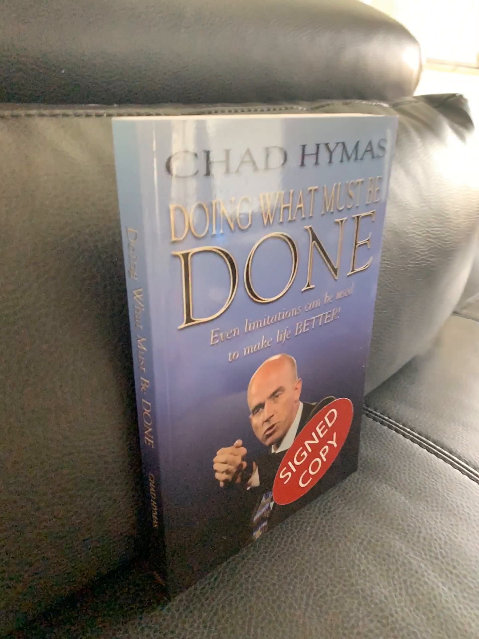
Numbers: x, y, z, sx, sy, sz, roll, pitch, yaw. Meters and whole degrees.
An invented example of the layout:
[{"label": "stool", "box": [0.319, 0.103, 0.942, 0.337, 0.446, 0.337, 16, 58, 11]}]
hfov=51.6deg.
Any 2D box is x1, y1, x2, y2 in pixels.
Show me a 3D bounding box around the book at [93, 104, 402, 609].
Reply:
[{"label": "book", "box": [0.015, 0.013, 0.257, 0.157, 0.225, 0.025, -17, 26, -37]}]
